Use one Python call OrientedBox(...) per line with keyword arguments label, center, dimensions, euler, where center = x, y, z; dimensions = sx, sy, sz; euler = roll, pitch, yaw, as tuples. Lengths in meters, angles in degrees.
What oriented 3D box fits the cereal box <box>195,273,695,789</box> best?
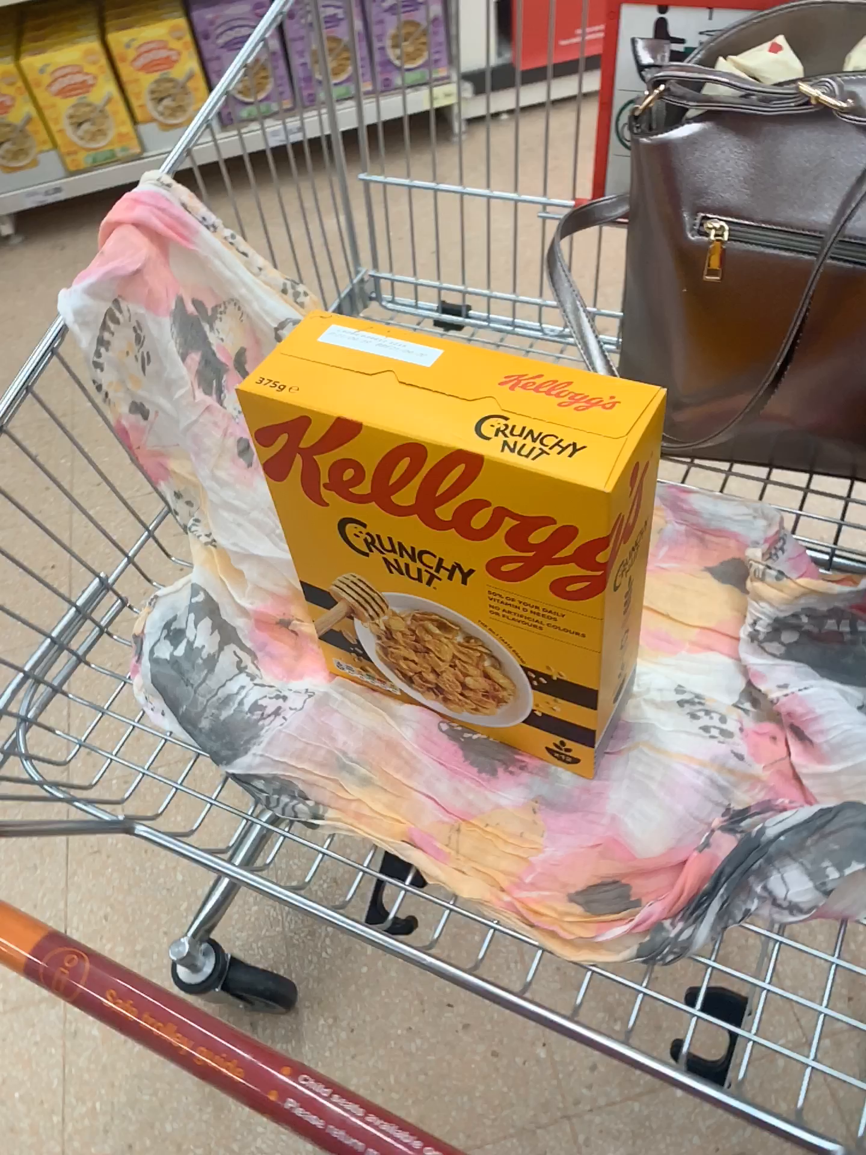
OrientedBox(label="cereal box", center=(0.014, -0.015, 0.493), dimensions=(0.211, 0.258, 0.080), euler=(18, 55, 21))
